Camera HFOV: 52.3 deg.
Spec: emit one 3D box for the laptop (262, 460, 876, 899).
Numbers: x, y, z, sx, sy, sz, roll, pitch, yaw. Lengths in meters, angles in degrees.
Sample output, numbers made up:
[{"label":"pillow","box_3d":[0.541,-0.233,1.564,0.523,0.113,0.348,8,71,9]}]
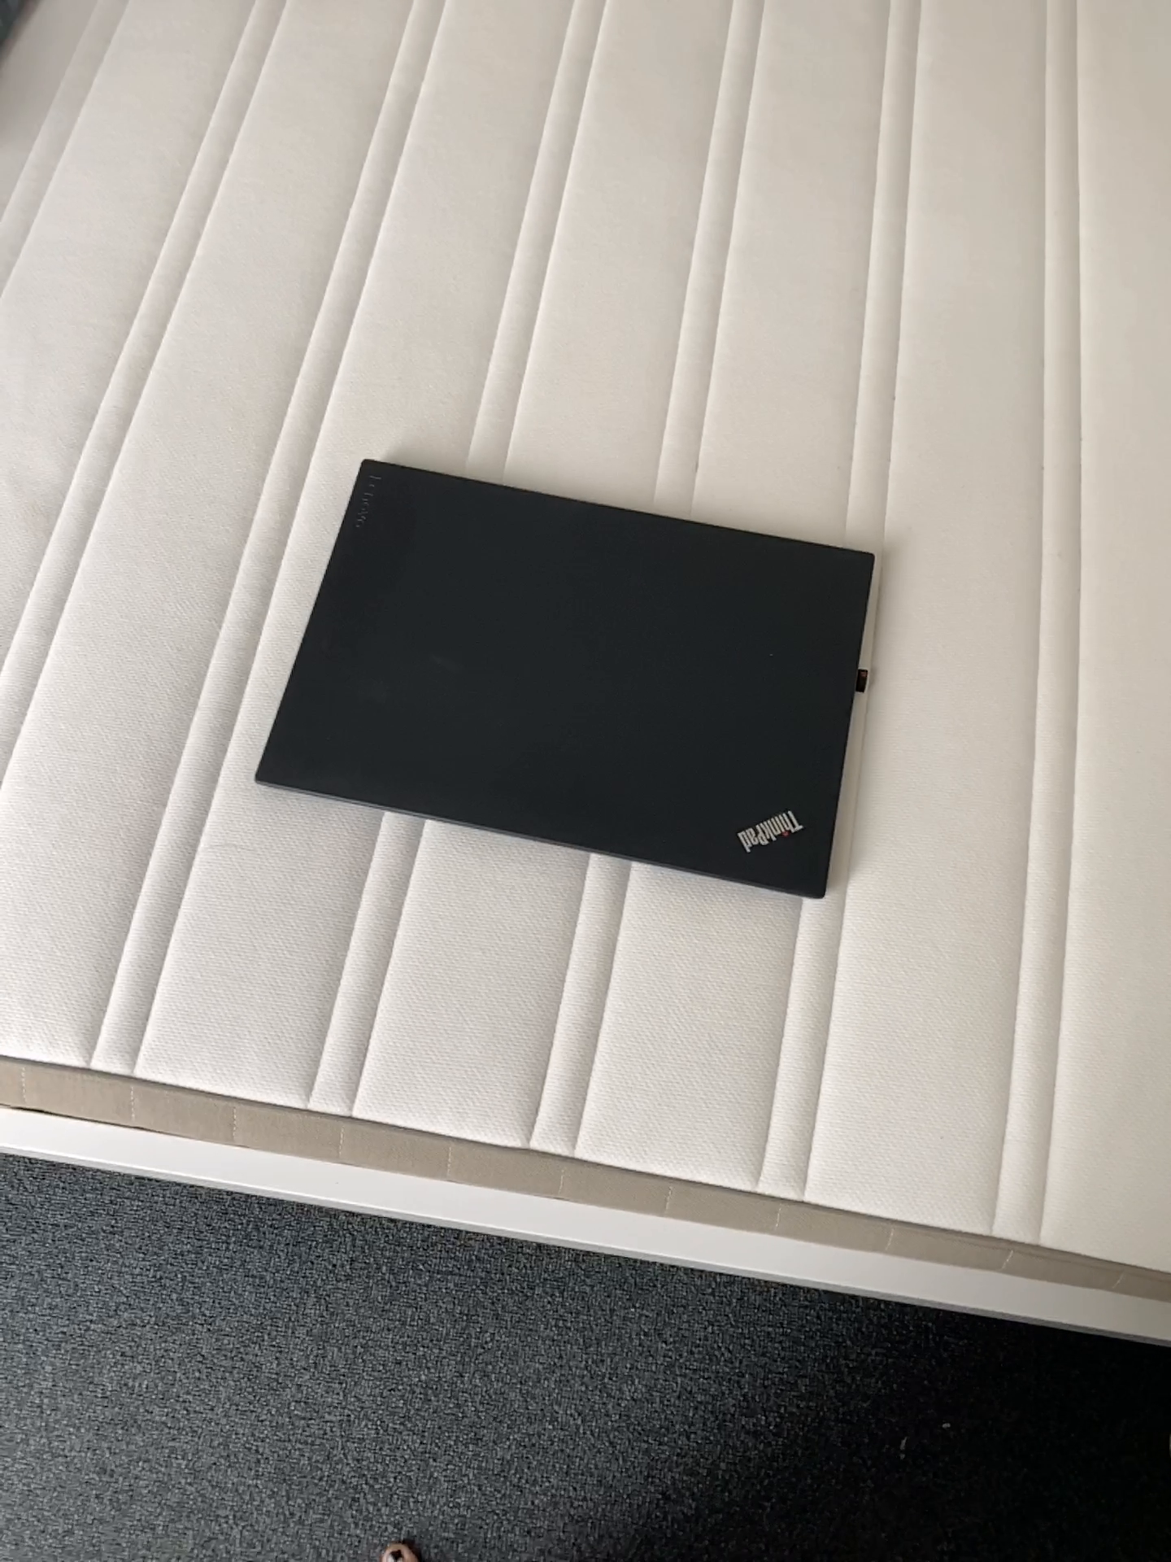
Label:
[{"label":"laptop","box_3d":[-0.003,-0.060,0.631,0.288,0.005,0.193,12,71,3]}]
